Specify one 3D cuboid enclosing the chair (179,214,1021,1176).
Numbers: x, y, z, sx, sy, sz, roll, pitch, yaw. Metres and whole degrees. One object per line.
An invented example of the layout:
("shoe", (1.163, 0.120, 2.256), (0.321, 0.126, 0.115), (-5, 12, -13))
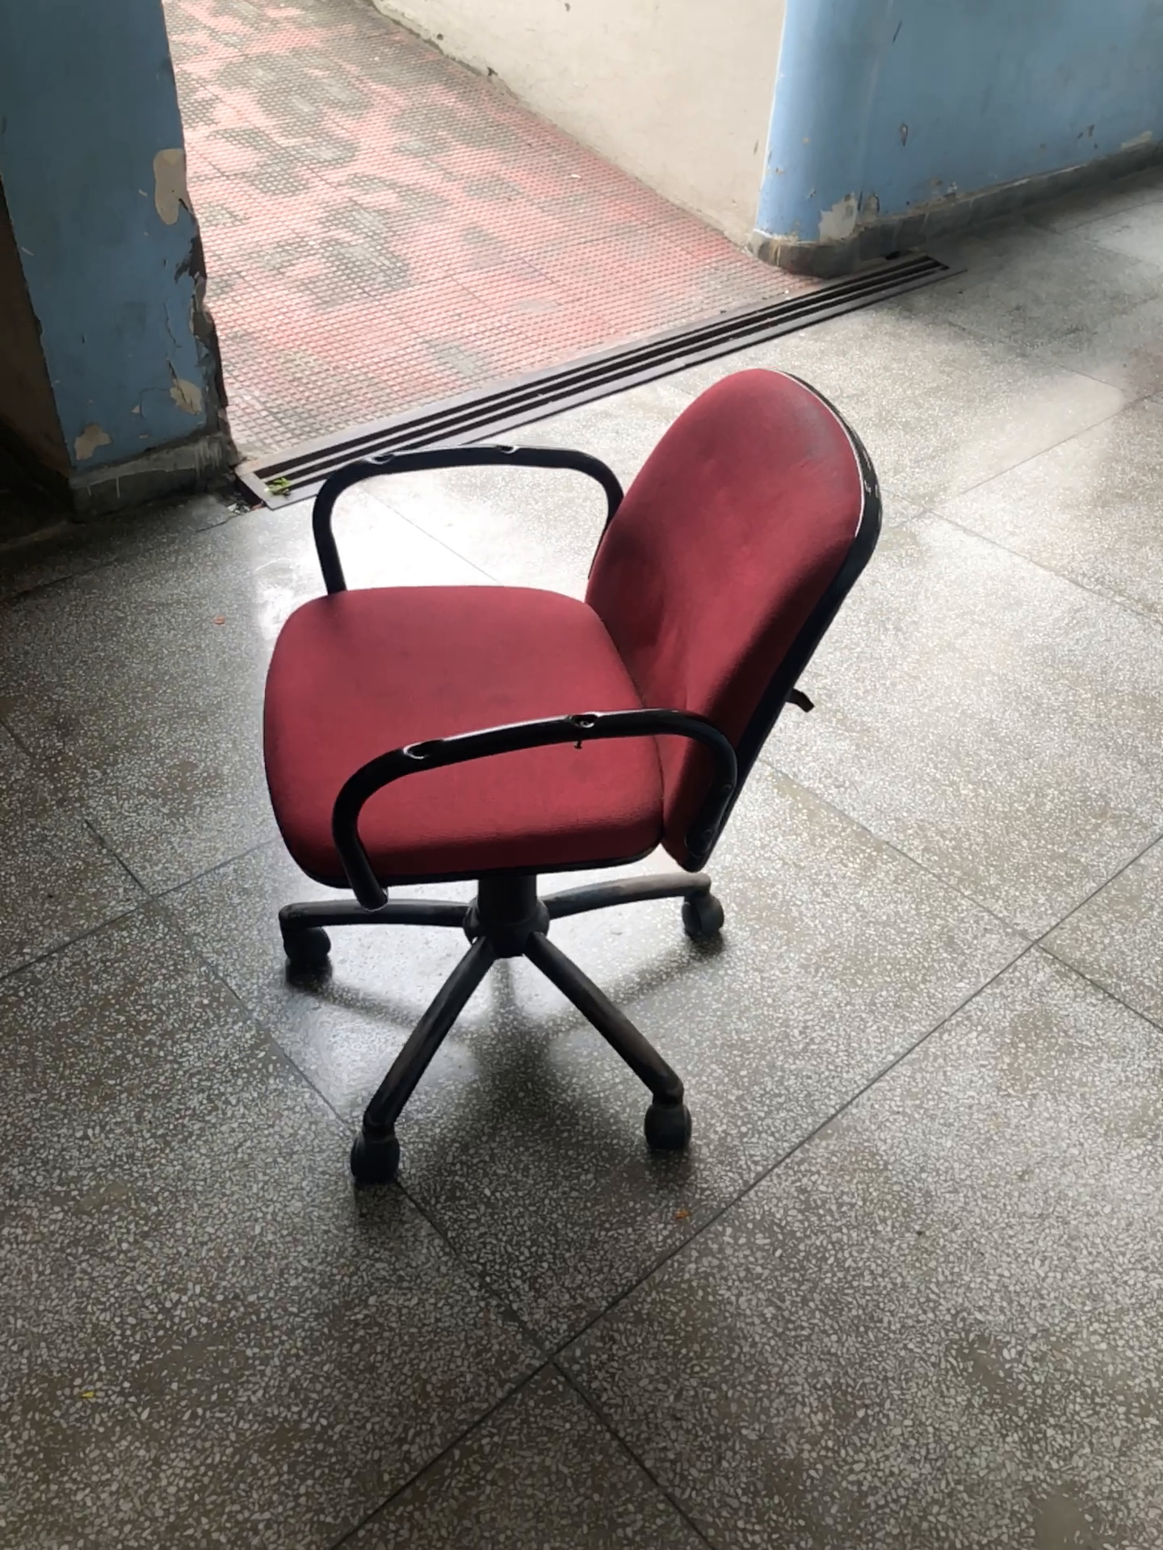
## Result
("chair", (-0.049, -0.113, 1.480), (0.640, 0.797, 0.652), (-9, 42, -14))
